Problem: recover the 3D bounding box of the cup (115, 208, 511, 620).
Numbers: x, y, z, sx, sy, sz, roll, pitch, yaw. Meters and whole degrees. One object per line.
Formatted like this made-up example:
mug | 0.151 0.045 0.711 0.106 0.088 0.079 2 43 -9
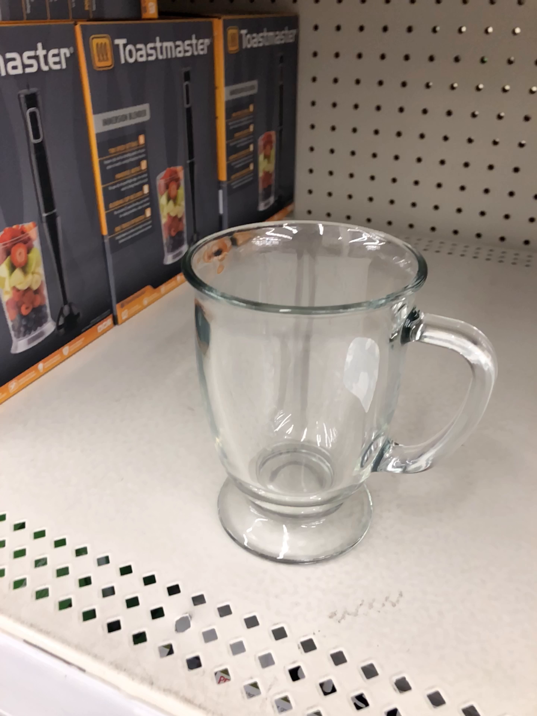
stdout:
cup | 0.026 0.014 0.285 0.138 0.128 0.110 12 32 22
